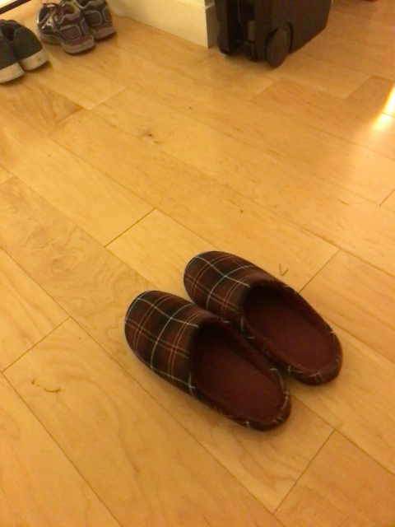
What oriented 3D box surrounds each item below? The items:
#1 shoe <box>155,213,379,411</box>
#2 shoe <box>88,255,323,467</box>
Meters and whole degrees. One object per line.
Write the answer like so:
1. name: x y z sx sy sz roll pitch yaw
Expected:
1. shoe: 0.083 0.052 0.592 0.120 0.070 0.281 -40 57 -22
2. shoe: 0.003 0.111 0.558 0.281 0.070 0.120 31 61 27
